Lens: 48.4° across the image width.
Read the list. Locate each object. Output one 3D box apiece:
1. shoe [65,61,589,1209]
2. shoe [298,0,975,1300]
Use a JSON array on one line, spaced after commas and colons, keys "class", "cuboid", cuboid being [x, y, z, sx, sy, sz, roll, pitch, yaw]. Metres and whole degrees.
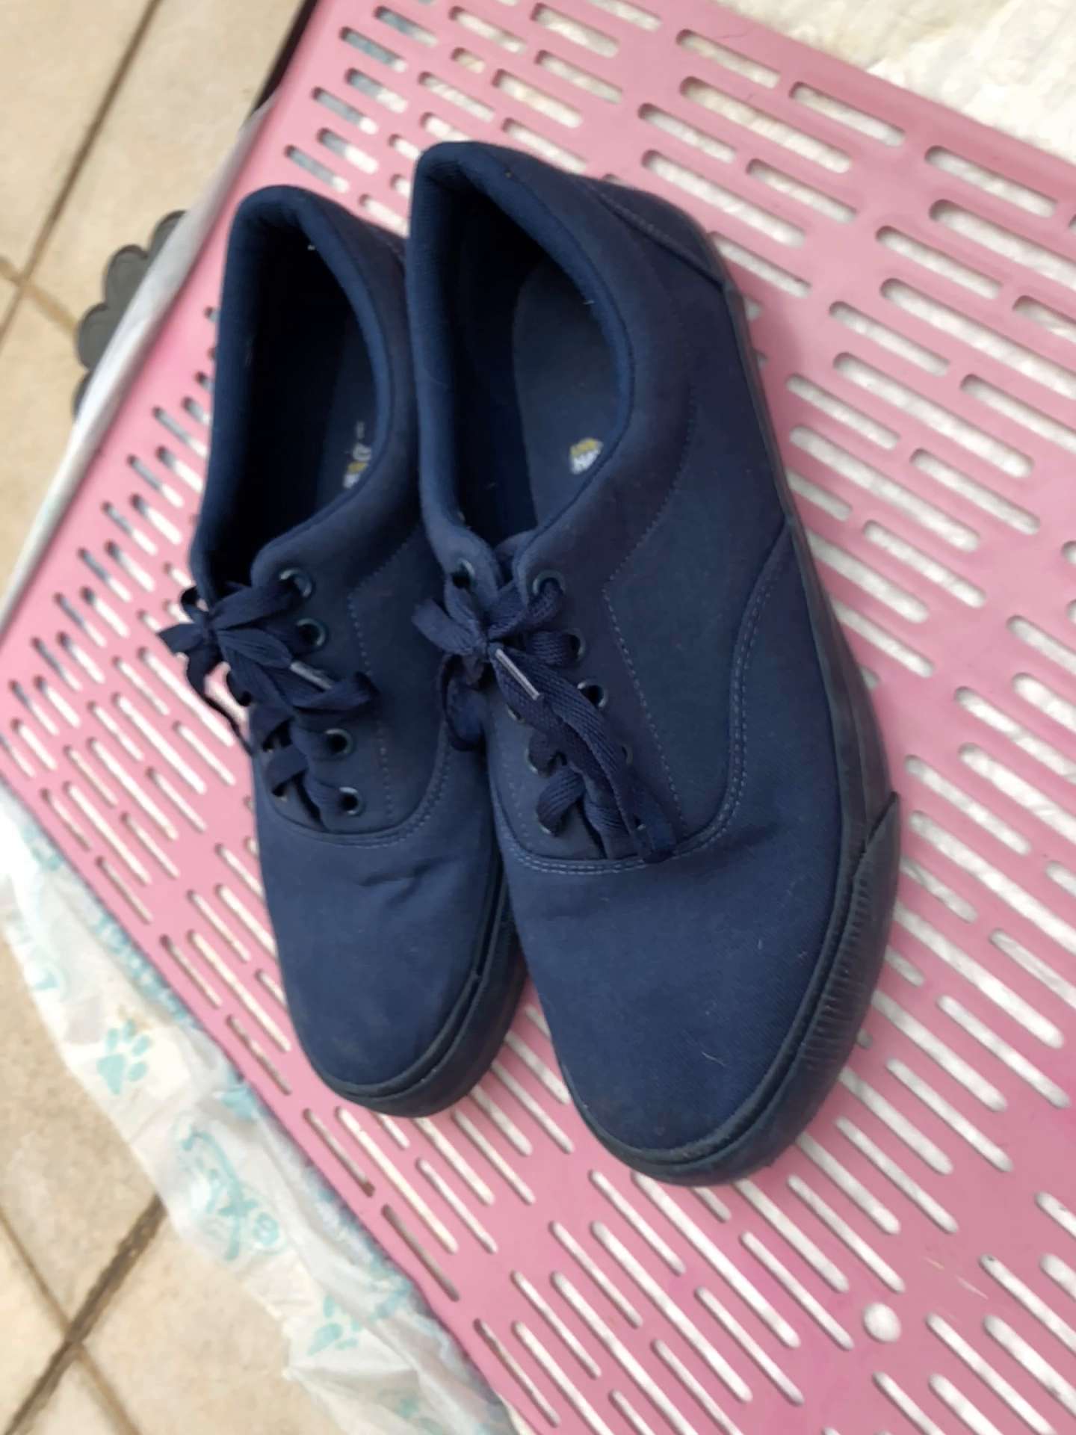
[{"class": "shoe", "cuboid": [-0.059, -0.018, 0.350, 0.107, 0.100, 0.270, -4, 85, 31]}, {"class": "shoe", "cuboid": [0.025, -0.015, 0.307, 0.107, 0.100, 0.270, -11, 81, 30]}]
